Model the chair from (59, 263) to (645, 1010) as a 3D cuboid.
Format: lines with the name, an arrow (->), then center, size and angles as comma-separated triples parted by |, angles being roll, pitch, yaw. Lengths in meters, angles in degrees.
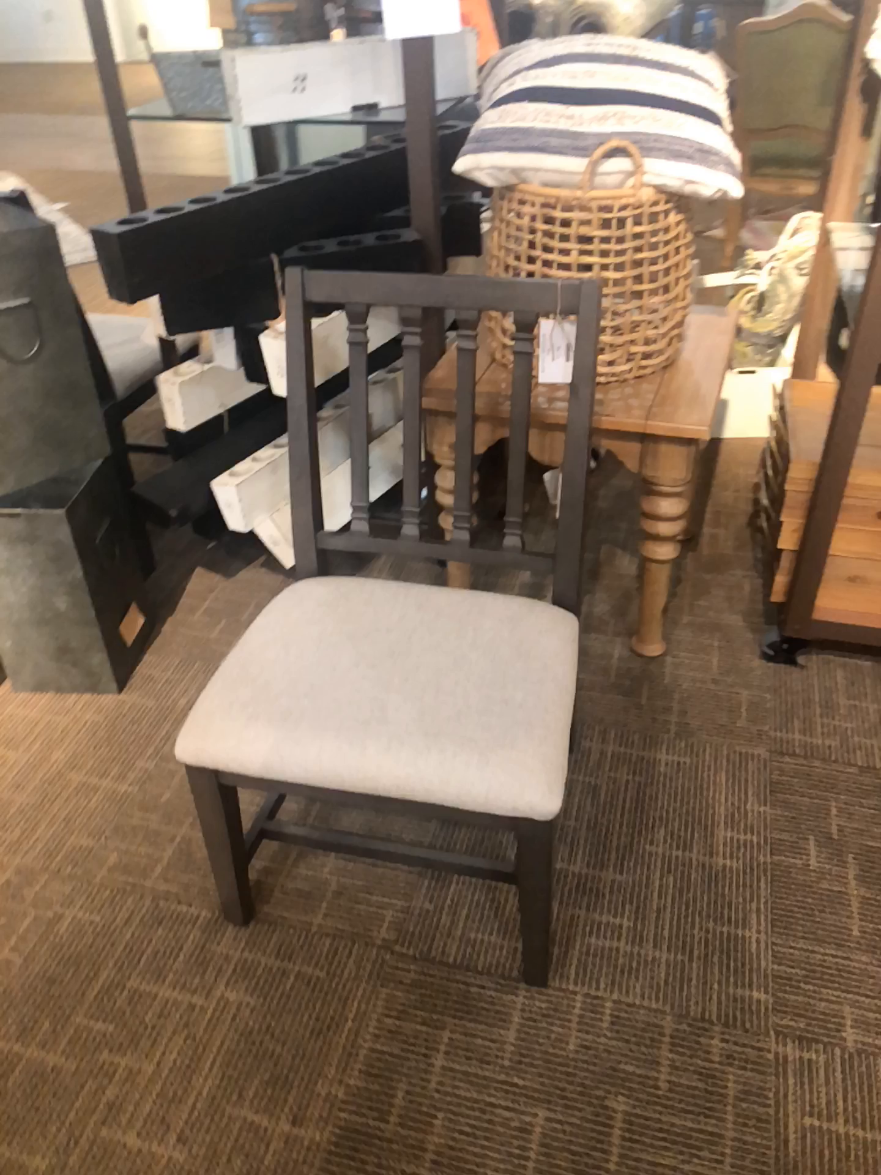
chair -> -0.050, 0.059, 1.496 | 0.580, 0.905, 0.603 | 8, 37, 14
